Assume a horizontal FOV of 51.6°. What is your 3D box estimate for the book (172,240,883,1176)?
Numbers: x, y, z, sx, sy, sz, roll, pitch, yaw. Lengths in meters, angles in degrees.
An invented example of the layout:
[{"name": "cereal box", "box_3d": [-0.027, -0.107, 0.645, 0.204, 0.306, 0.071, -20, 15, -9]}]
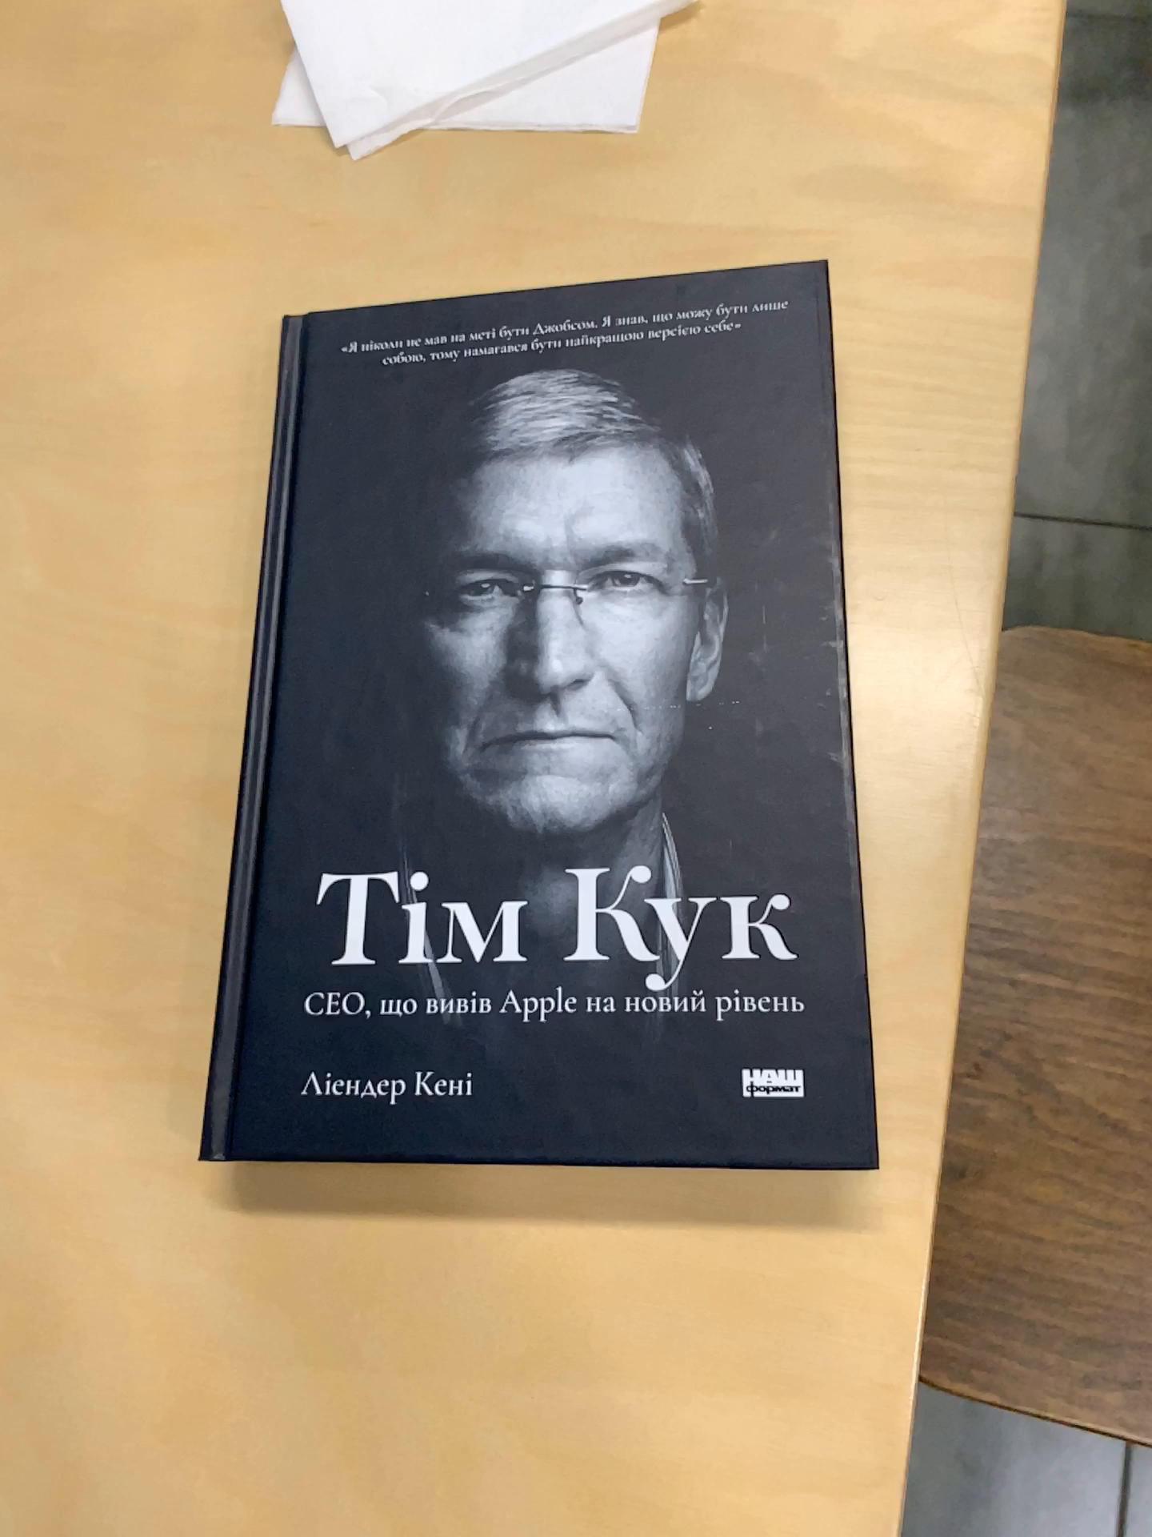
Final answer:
[{"name": "book", "box_3d": [-0.008, -0.019, 0.287, 0.144, 0.034, 0.217, -2, 71, 10]}]
